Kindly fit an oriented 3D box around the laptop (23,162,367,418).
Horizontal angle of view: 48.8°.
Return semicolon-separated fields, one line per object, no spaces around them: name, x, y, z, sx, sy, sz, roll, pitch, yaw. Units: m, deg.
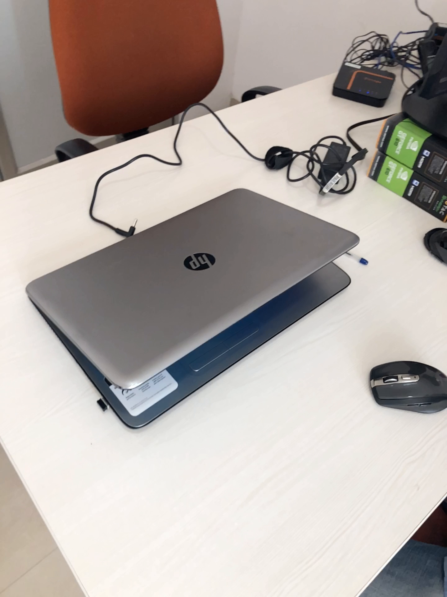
laptop;-0.027;-0.040;0.634;0.356;0.062;0.226;-31;59;-29
